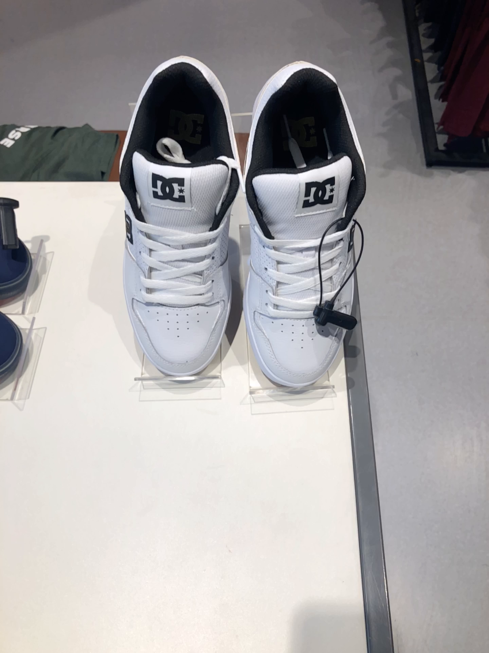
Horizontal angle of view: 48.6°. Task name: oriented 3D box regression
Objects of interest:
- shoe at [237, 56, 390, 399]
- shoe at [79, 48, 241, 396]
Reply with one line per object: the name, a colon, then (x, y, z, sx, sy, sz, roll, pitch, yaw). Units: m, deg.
shoe: (0.046, -0.078, 0.444, 0.095, 0.249, 0.102, -2, 22, -3)
shoe: (-0.060, -0.083, 0.455, 0.103, 0.259, 0.102, 2, 23, 1)
